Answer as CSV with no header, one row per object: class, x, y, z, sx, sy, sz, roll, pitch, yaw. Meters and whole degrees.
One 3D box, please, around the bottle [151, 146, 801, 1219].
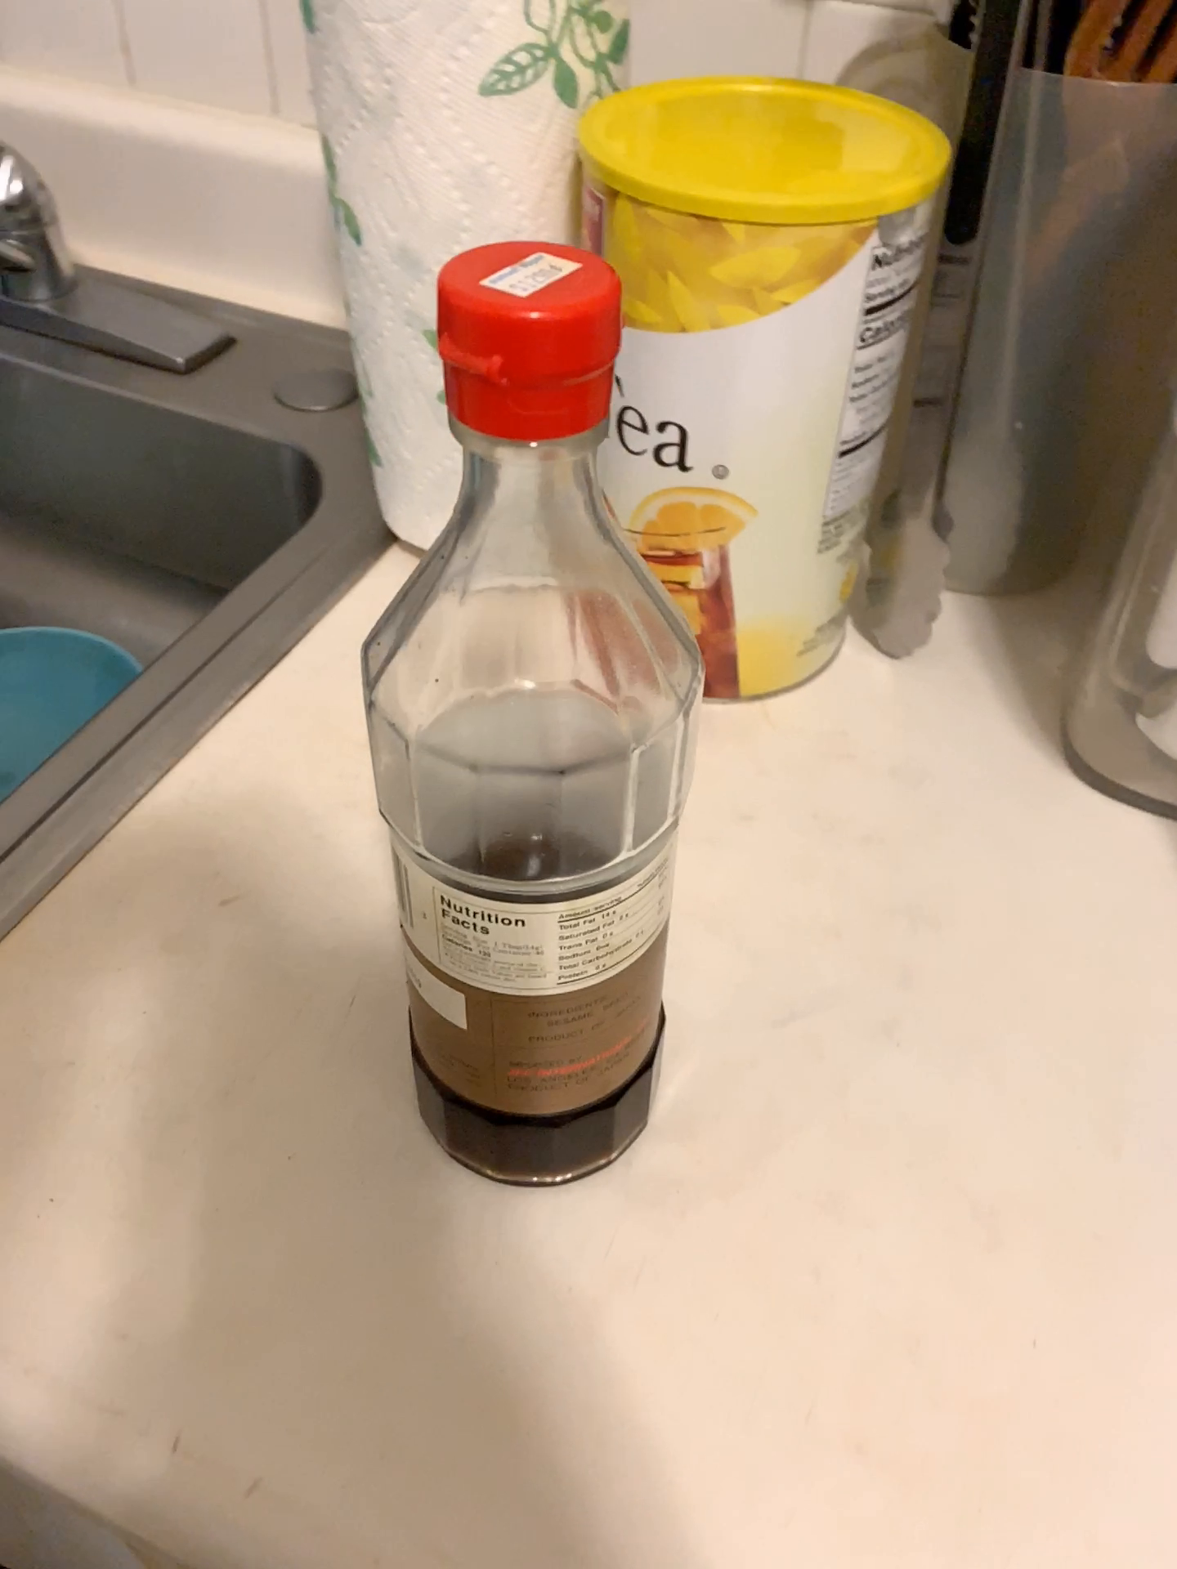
bottle,-0.018,-0.002,0.308,0.090,0.259,0.090,2,45,-2
